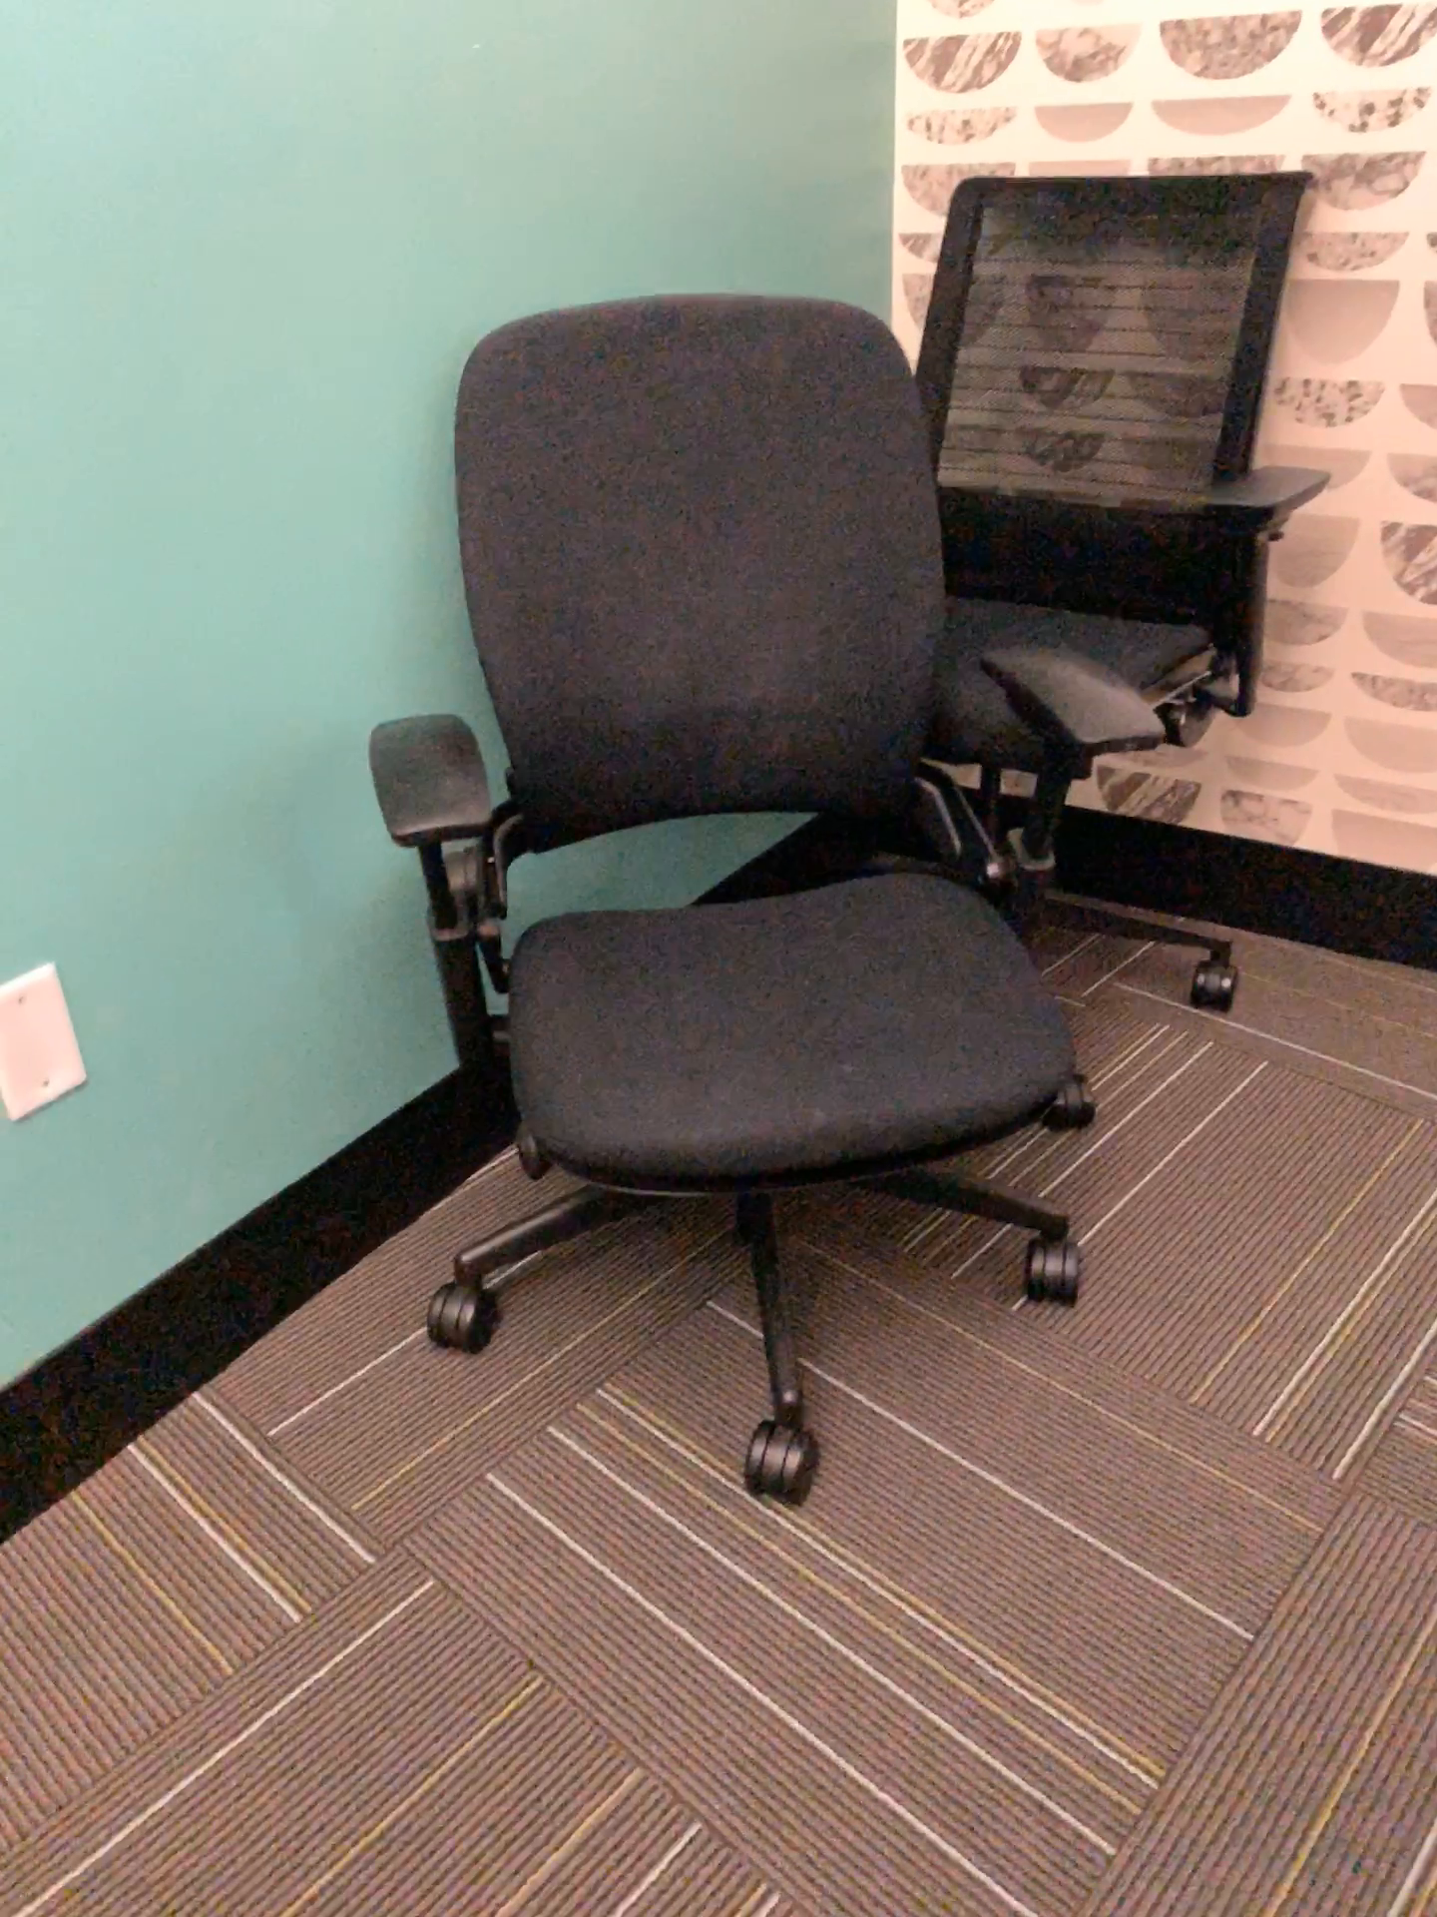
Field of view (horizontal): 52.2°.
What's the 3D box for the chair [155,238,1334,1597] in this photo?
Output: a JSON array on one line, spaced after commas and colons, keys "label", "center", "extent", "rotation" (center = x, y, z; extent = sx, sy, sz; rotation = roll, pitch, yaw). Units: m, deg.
[{"label": "chair", "center": [-0.015, -0.108, 1.369], "extent": [0.660, 0.944, 0.775], "rotation": [-7, 29, -7]}]
